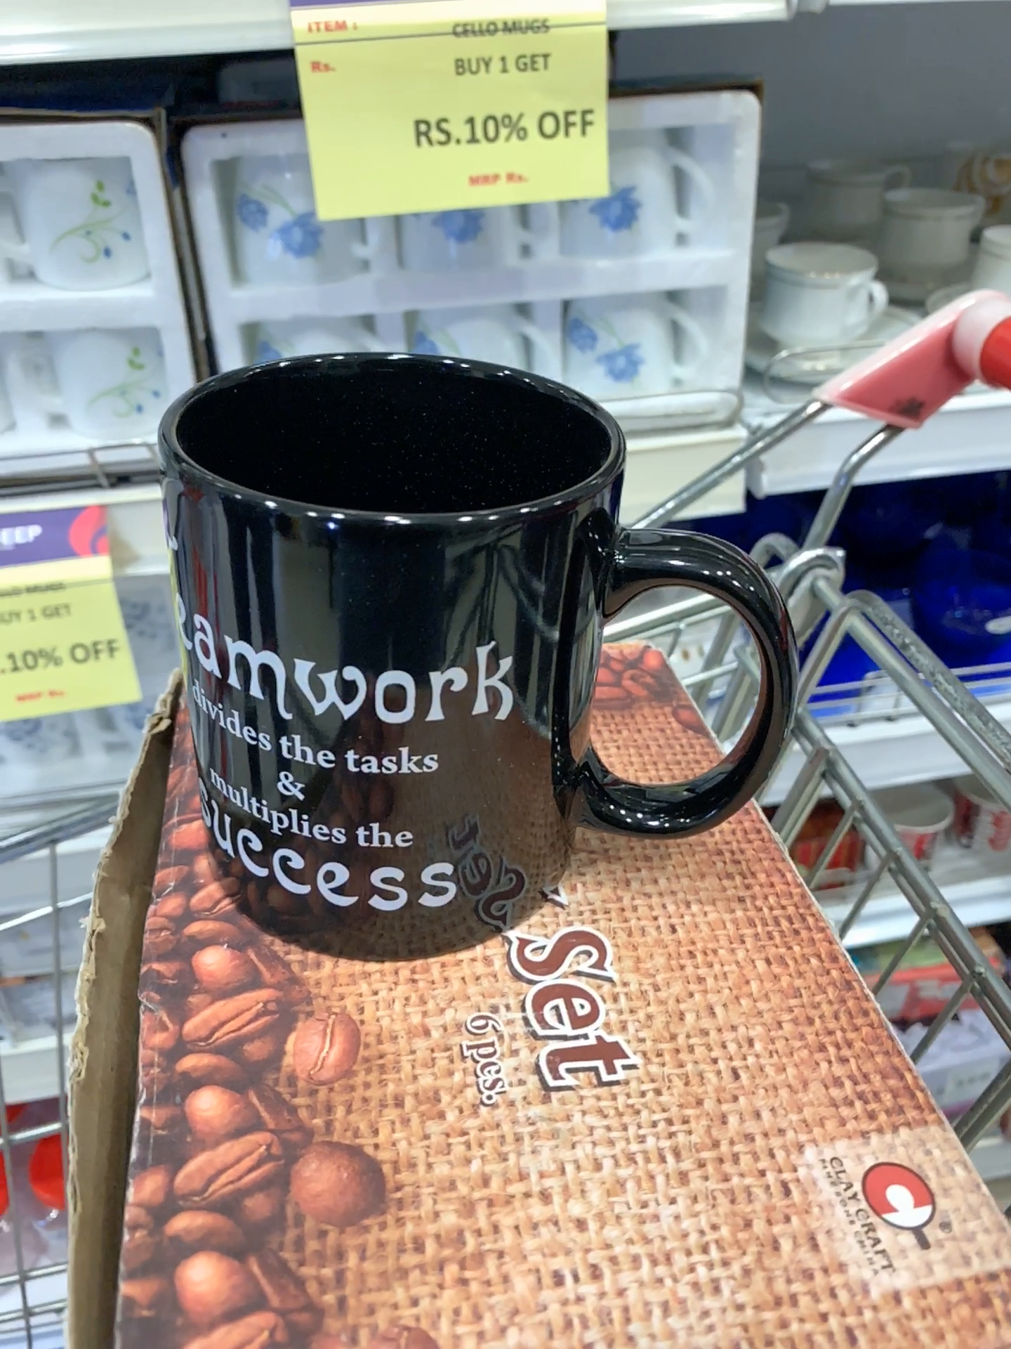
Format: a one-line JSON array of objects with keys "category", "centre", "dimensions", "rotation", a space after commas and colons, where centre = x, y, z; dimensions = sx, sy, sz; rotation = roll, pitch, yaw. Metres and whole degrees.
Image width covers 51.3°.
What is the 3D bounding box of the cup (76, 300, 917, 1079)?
[{"category": "cup", "centre": [0.001, -0.001, 0.206], "dimensions": [0.120, 0.100, 0.080], "rotation": [13, 38, 9]}]
